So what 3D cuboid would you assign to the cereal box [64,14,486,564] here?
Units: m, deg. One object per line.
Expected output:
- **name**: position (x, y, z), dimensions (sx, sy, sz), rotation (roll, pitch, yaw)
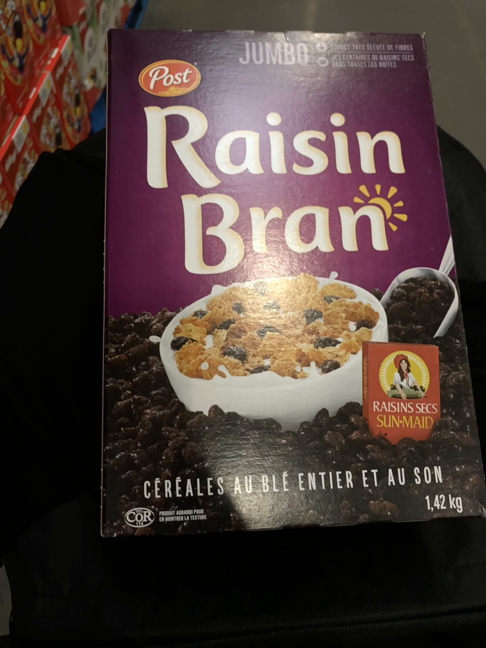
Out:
- **cereal box**: position (0.015, -0.025, 0.336), dimensions (0.210, 0.110, 0.290), rotation (-2, 79, -3)
